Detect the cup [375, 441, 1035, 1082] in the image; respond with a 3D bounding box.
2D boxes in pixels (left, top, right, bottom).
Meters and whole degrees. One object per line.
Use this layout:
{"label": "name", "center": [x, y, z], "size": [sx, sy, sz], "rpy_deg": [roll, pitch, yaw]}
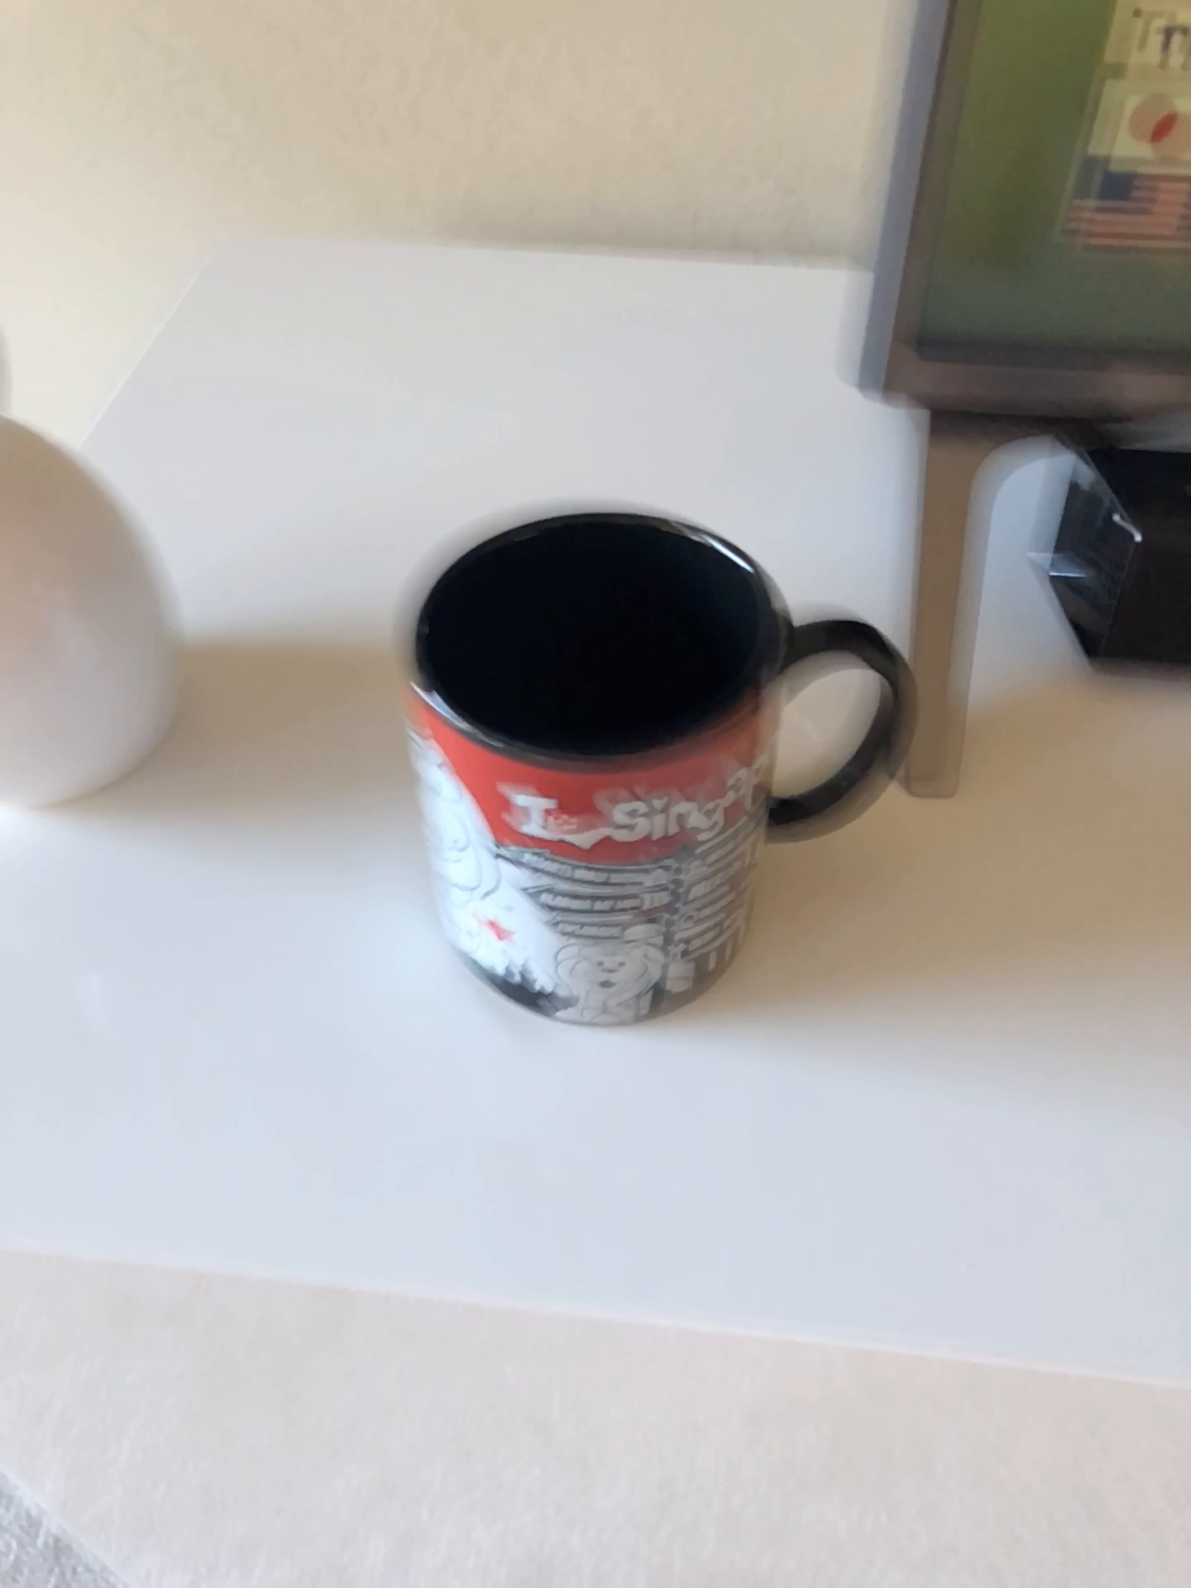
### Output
{"label": "cup", "center": [0.019, -0.007, 0.320], "size": [0.120, 0.110, 0.080], "rpy_deg": [-11, 48, -10]}
